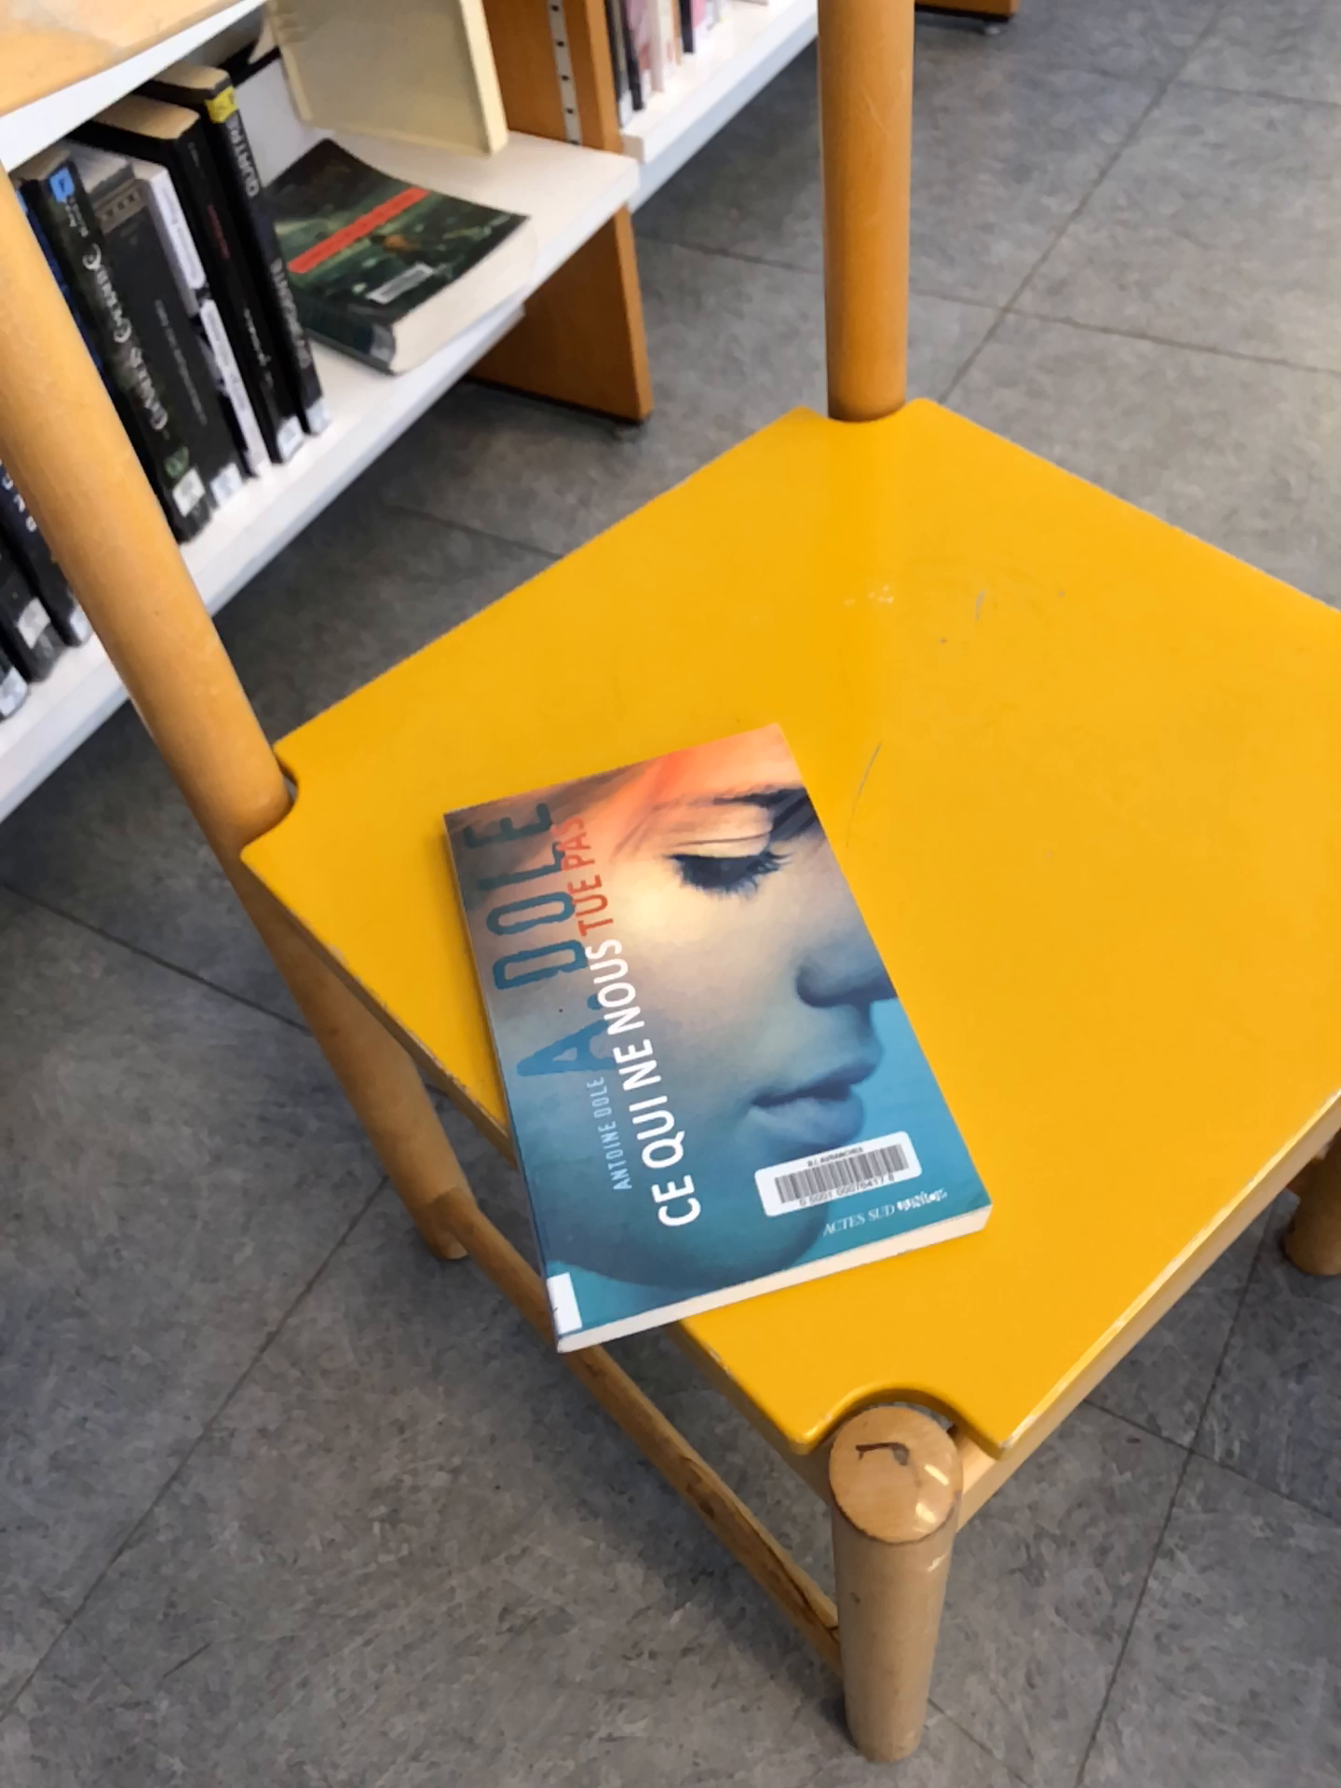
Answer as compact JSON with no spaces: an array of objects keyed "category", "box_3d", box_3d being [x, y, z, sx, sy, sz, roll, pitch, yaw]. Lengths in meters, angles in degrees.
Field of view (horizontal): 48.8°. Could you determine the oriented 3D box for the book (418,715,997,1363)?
[{"category":"book","box_3d":[0.001,0.035,0.497,0.140,0.016,0.213,-15,52,-5]}]
